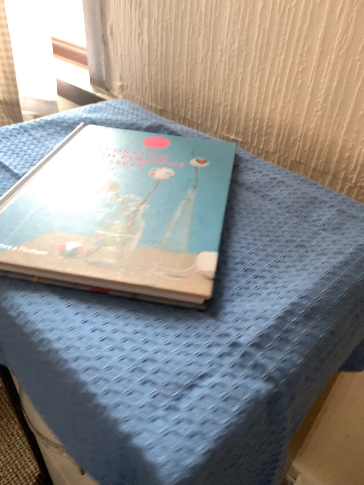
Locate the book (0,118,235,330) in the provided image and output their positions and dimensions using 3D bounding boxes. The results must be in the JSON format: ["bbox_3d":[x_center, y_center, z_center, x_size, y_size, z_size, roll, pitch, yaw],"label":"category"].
[{"bbox_3d":[-0.056,-0.045,0.341,0.190,0.020,0.252,10,39,5],"label":"book"}]
